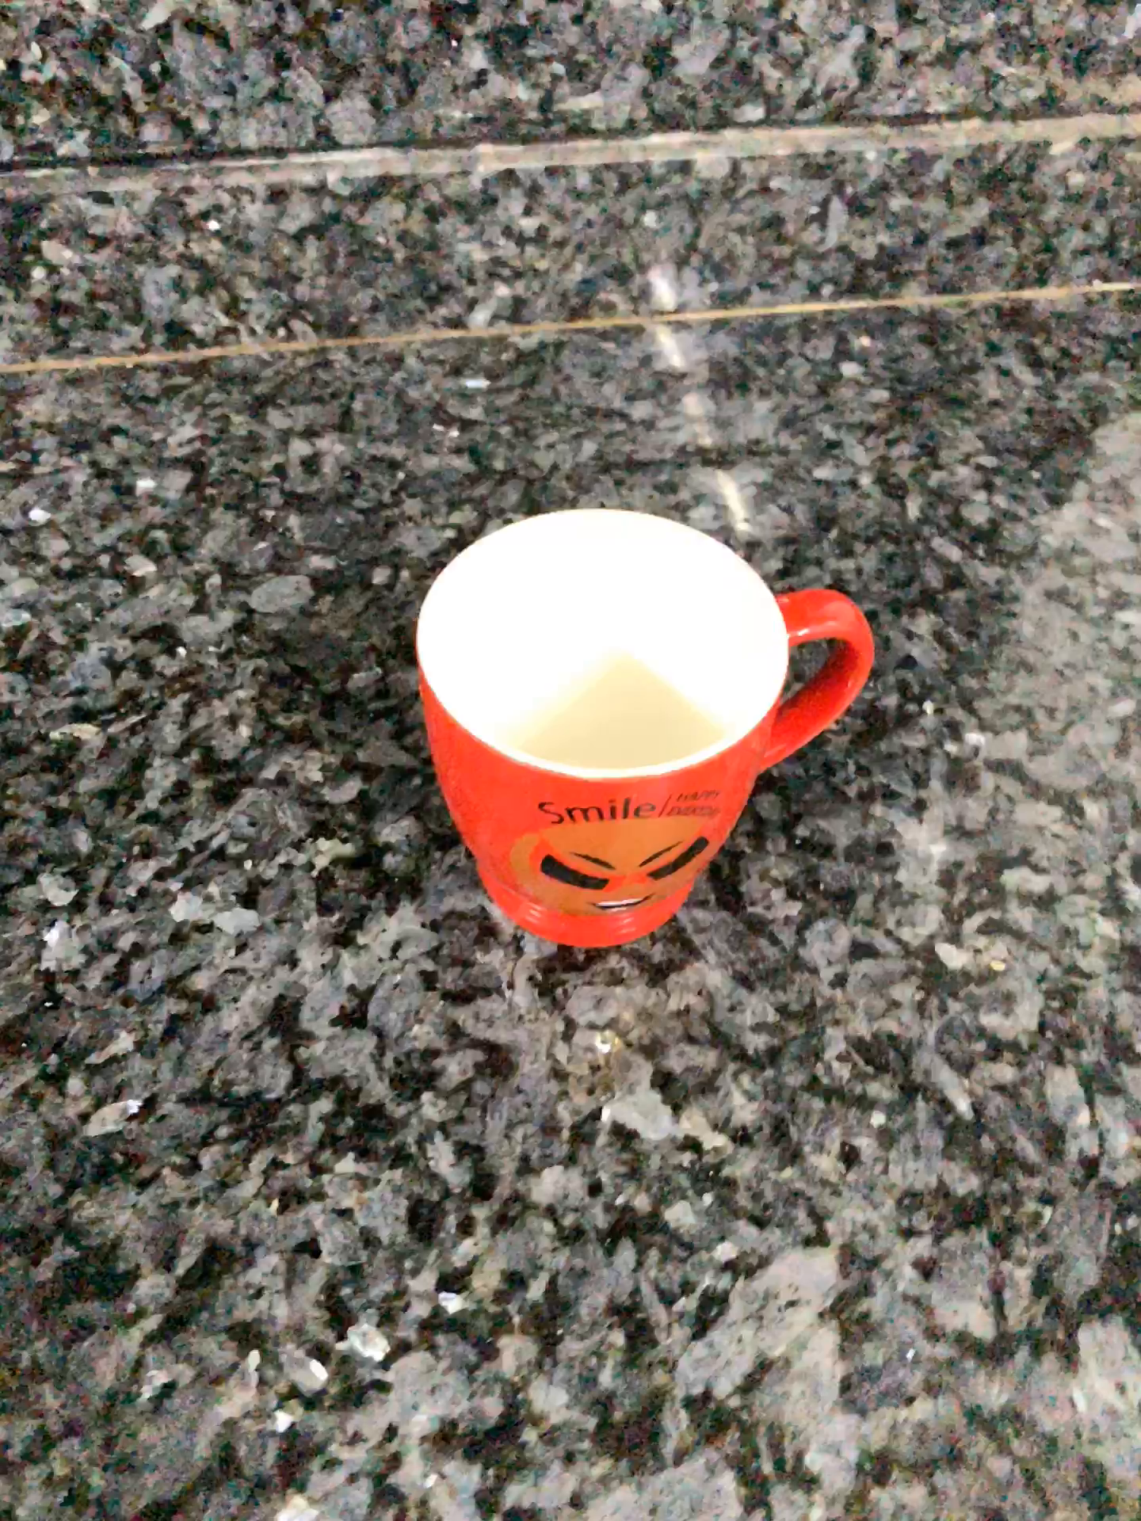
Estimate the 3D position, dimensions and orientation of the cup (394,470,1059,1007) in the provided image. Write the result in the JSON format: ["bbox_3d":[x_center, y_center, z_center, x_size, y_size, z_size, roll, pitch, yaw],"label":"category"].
[{"bbox_3d":[0.025,-0.006,0.252,0.110,0.069,0.071,-9,52,-10],"label":"cup"}]
